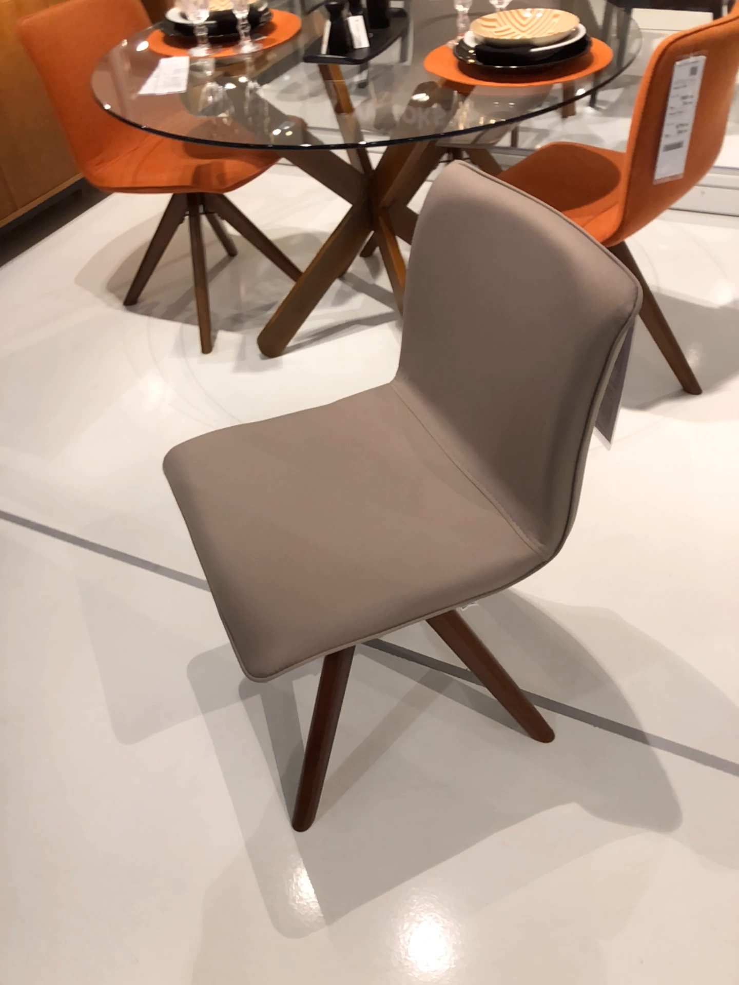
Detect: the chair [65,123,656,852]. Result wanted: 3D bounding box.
[{"bbox_3d":[-0.017,0.012,1.173,0.511,0.805,0.503,-19,44,-13],"label":"chair"}]
